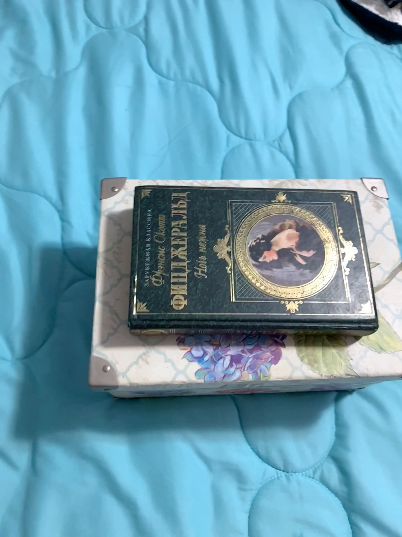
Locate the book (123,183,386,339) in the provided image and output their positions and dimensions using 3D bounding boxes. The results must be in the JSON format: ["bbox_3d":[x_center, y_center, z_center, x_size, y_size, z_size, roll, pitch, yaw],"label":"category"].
[{"bbox_3d":[0.044,-0.008,0.380,0.220,0.030,0.140,1,68,-4],"label":"book"}]
